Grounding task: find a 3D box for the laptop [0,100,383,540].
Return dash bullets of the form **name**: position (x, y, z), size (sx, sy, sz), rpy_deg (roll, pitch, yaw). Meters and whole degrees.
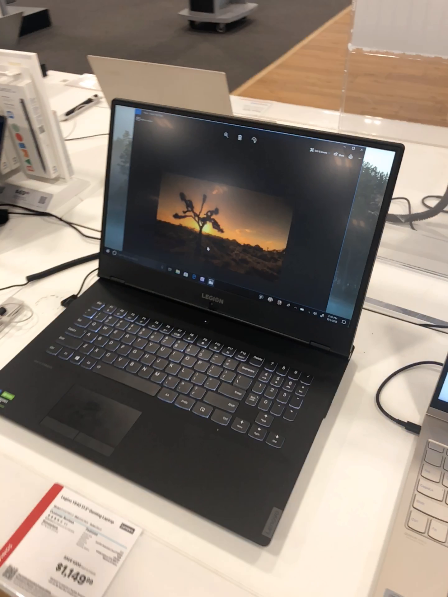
- **laptop**: position (-0.064, -0.023, 0.580), size (0.382, 0.241, 0.359), rpy_deg (18, 44, 20)
